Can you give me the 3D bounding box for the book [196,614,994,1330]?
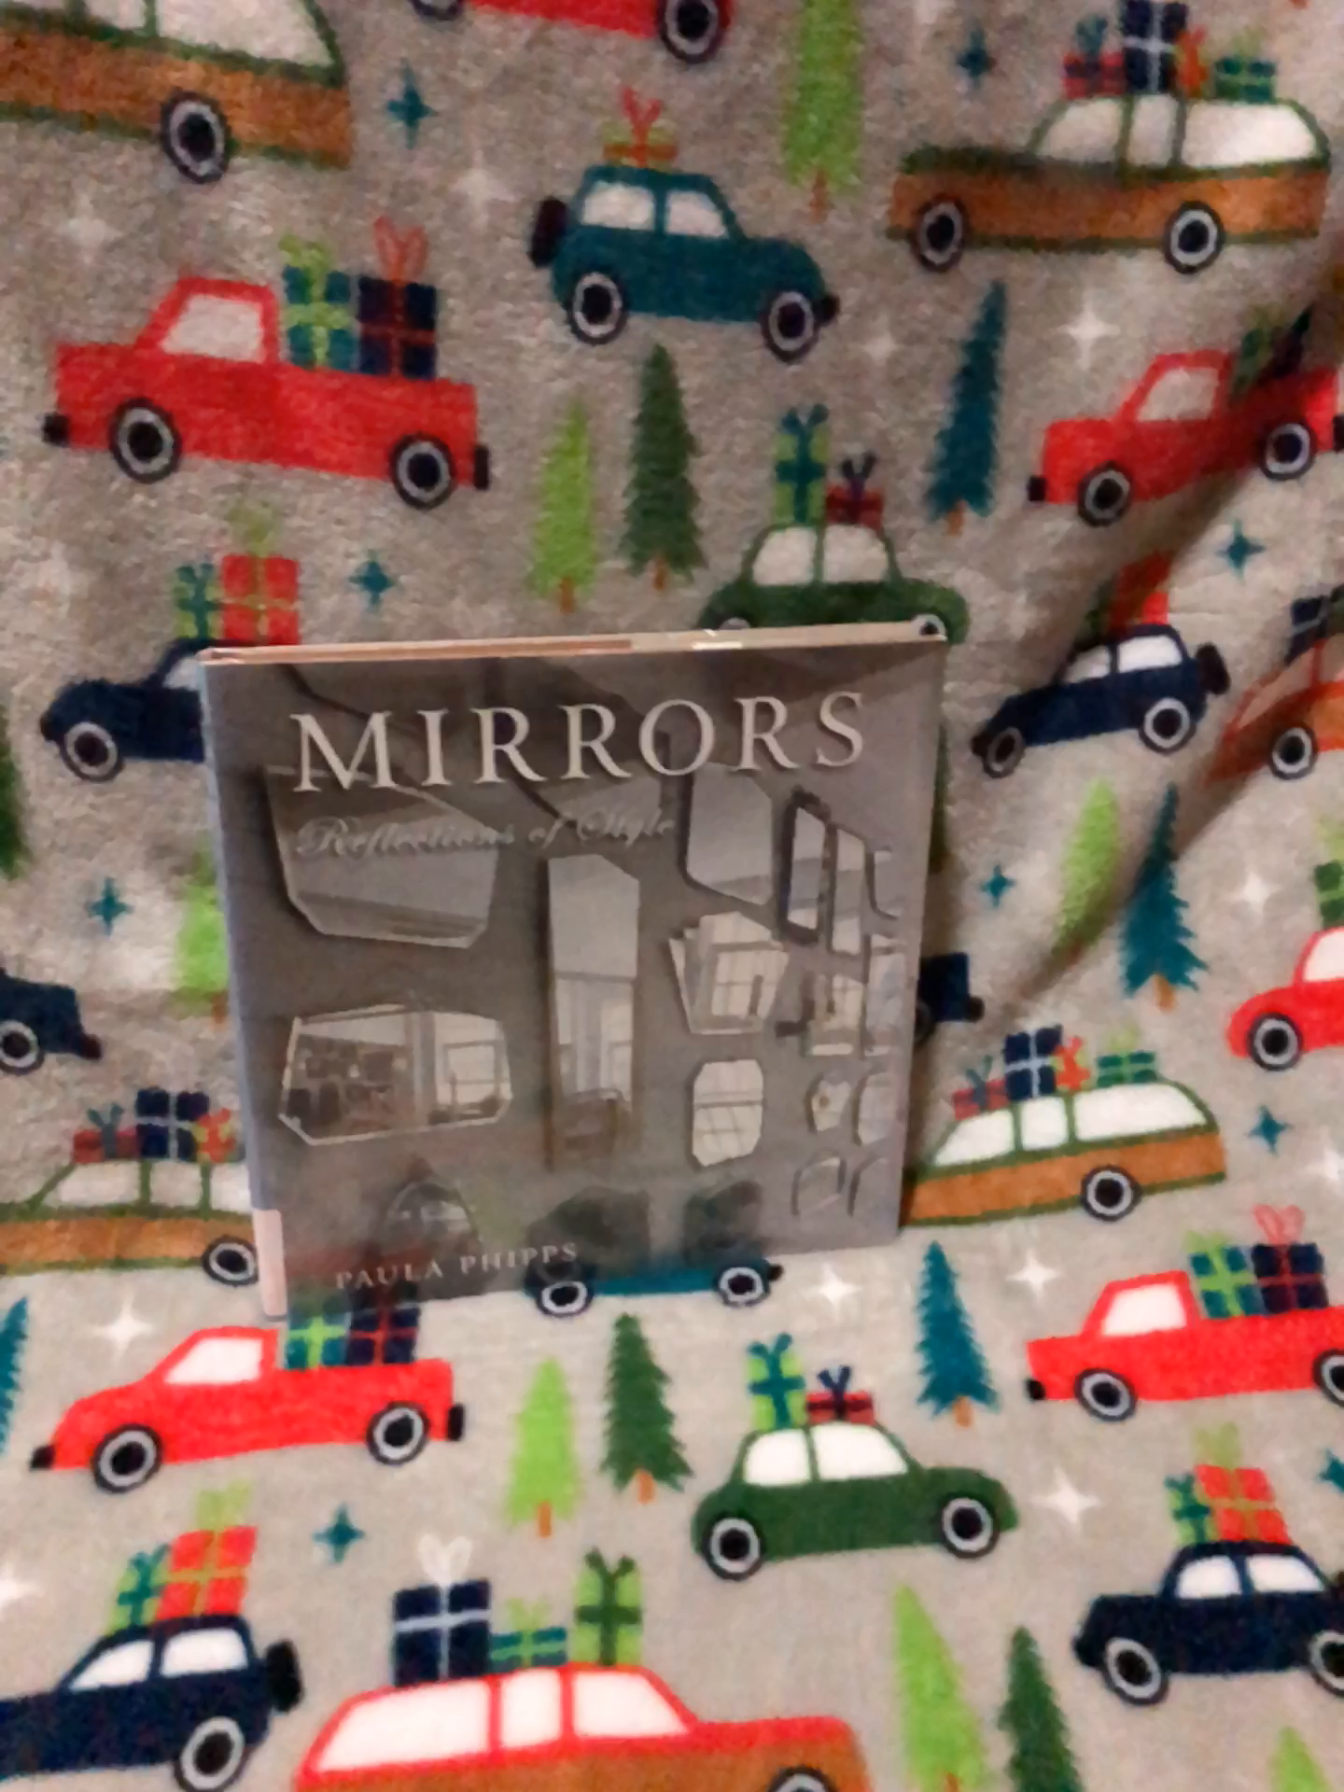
[{"bbox_3d":[-0.019,0.024,0.460,0.223,0.208,0.030,-5,23,-13],"label":"book"}]
